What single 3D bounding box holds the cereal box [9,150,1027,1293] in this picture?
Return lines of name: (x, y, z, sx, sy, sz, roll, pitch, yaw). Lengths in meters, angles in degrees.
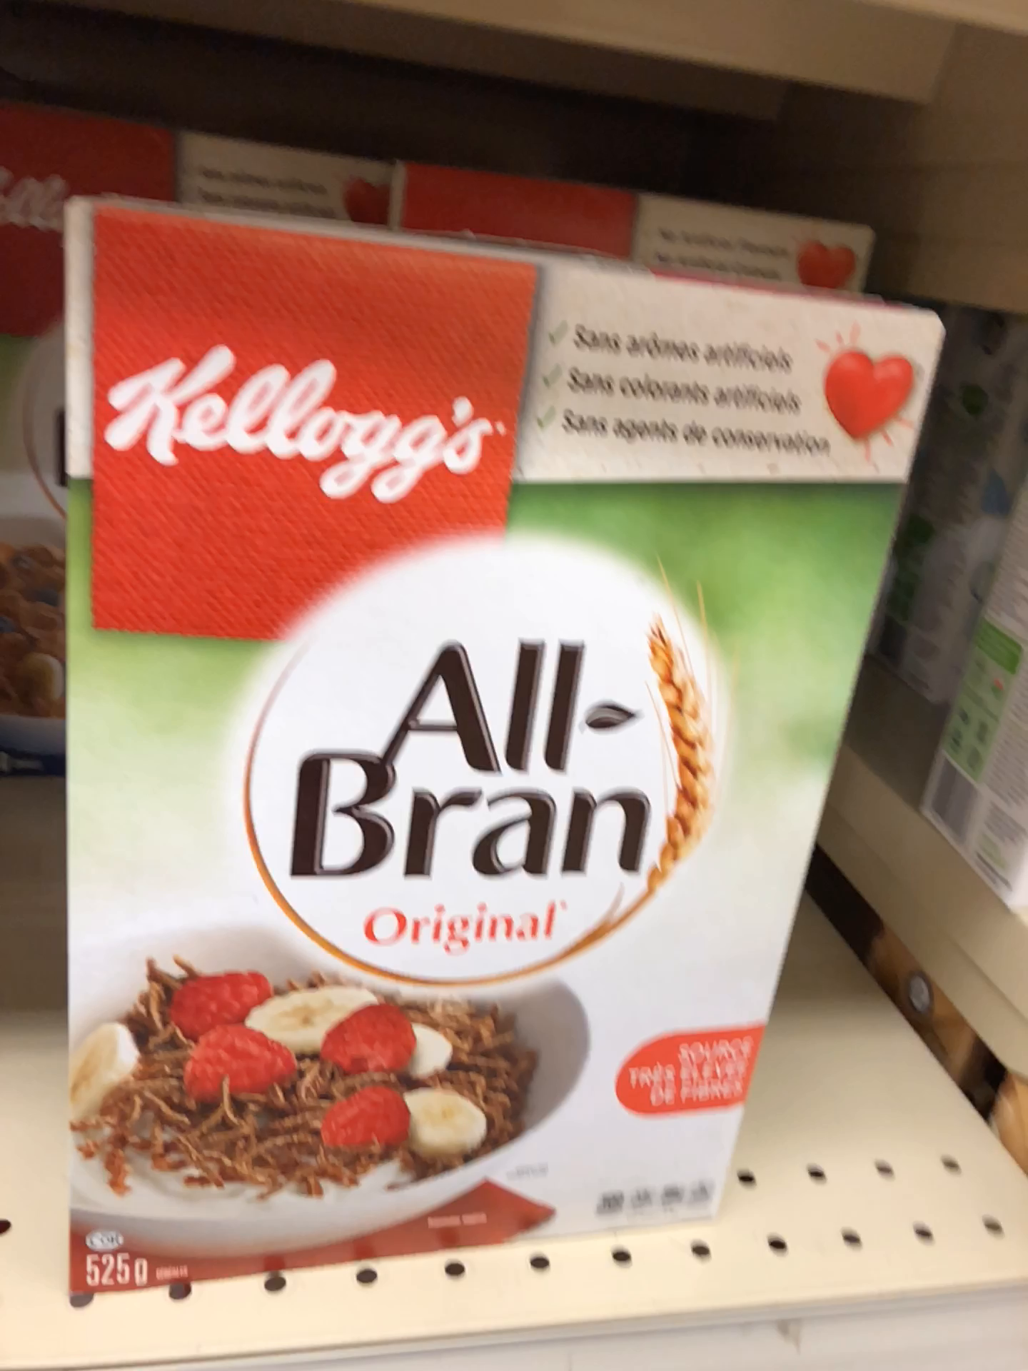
cereal box: (-0.006, 0.021, 0.263, 0.190, 0.238, 0.050, 2, 23, -16)
